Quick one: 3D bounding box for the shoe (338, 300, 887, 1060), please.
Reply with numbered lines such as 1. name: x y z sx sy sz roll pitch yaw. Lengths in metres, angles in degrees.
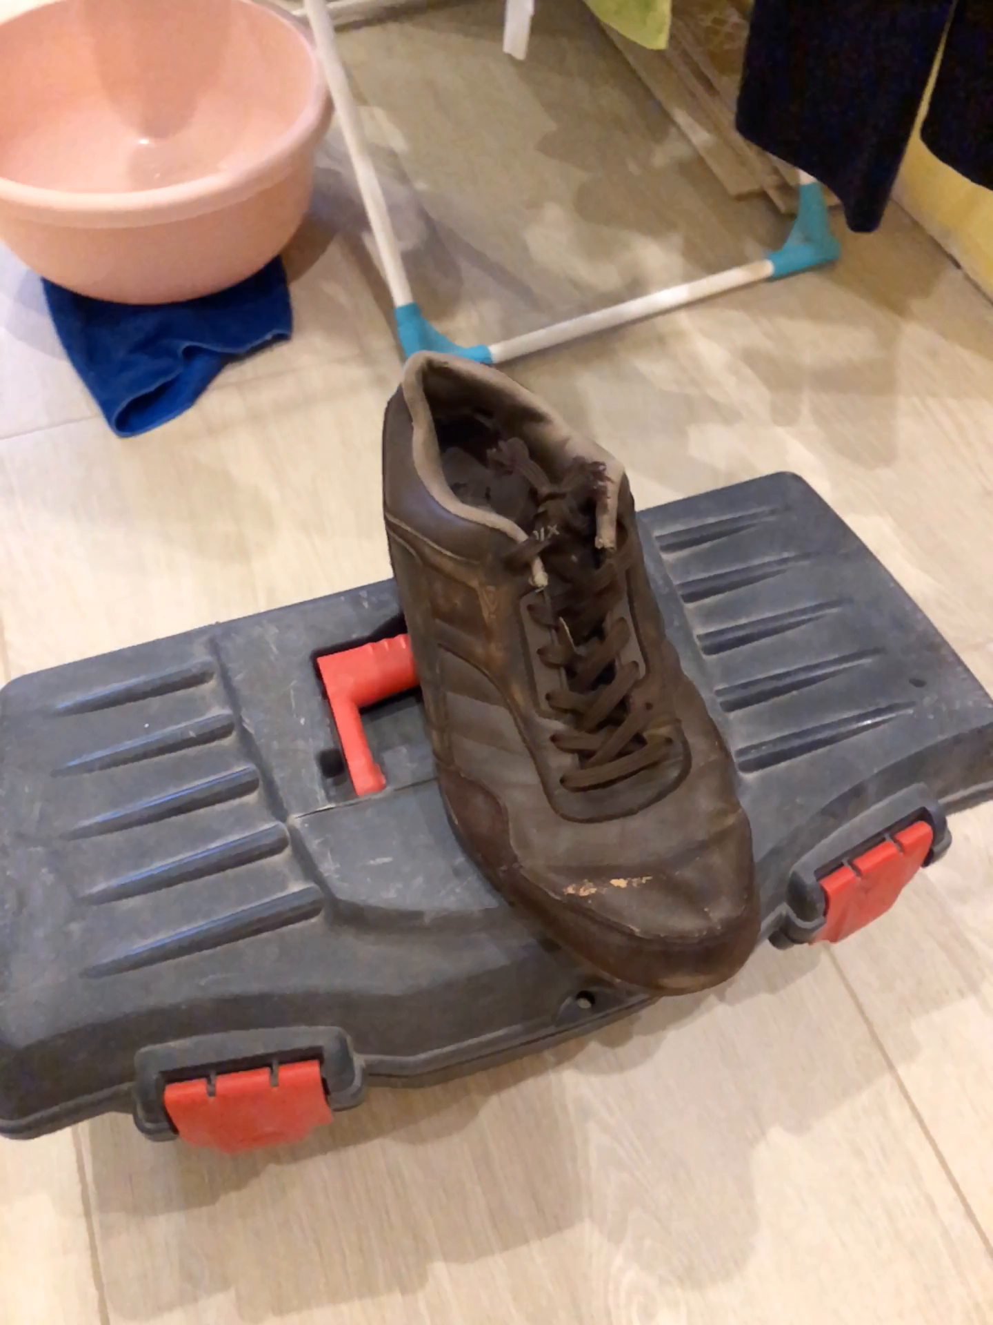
1. shoe: 0.026 -0.007 0.443 0.110 0.099 0.281 -14 58 -10
